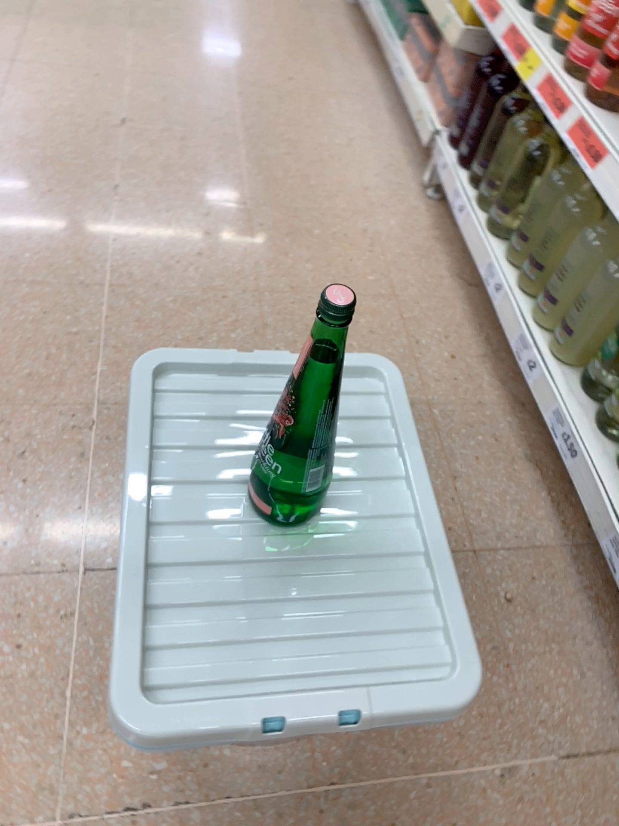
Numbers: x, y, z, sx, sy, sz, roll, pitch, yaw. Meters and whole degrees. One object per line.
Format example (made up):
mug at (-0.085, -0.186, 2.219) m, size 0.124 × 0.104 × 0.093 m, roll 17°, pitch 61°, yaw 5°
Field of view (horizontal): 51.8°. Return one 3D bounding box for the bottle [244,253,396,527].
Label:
bottle at (-0.006, -0.003, 0.600) m, size 0.085 × 0.287 × 0.091 m, roll 6°, pitch 51°, yaw -7°
